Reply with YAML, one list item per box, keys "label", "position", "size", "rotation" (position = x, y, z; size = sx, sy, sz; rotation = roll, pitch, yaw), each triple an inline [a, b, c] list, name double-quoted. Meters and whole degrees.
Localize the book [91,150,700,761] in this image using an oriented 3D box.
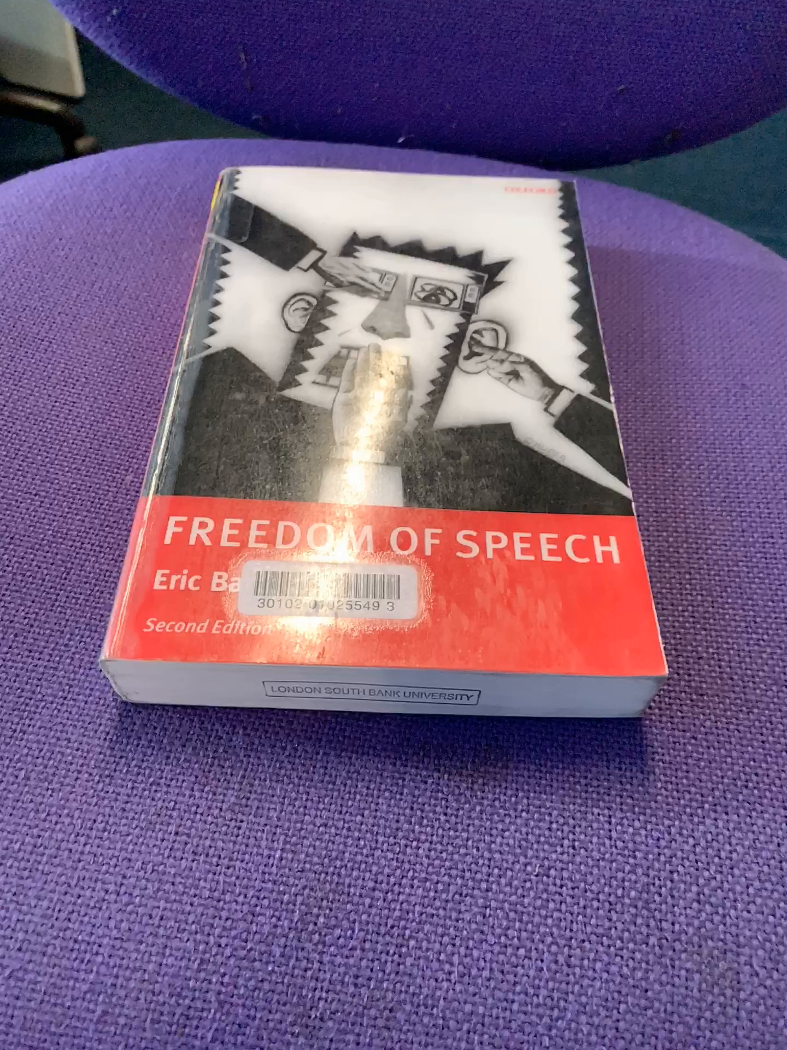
- label: "book"
  position: [0.001, -0.045, 0.309]
  size: [0.160, 0.050, 0.252]
  rotation: [3, 53, -4]
